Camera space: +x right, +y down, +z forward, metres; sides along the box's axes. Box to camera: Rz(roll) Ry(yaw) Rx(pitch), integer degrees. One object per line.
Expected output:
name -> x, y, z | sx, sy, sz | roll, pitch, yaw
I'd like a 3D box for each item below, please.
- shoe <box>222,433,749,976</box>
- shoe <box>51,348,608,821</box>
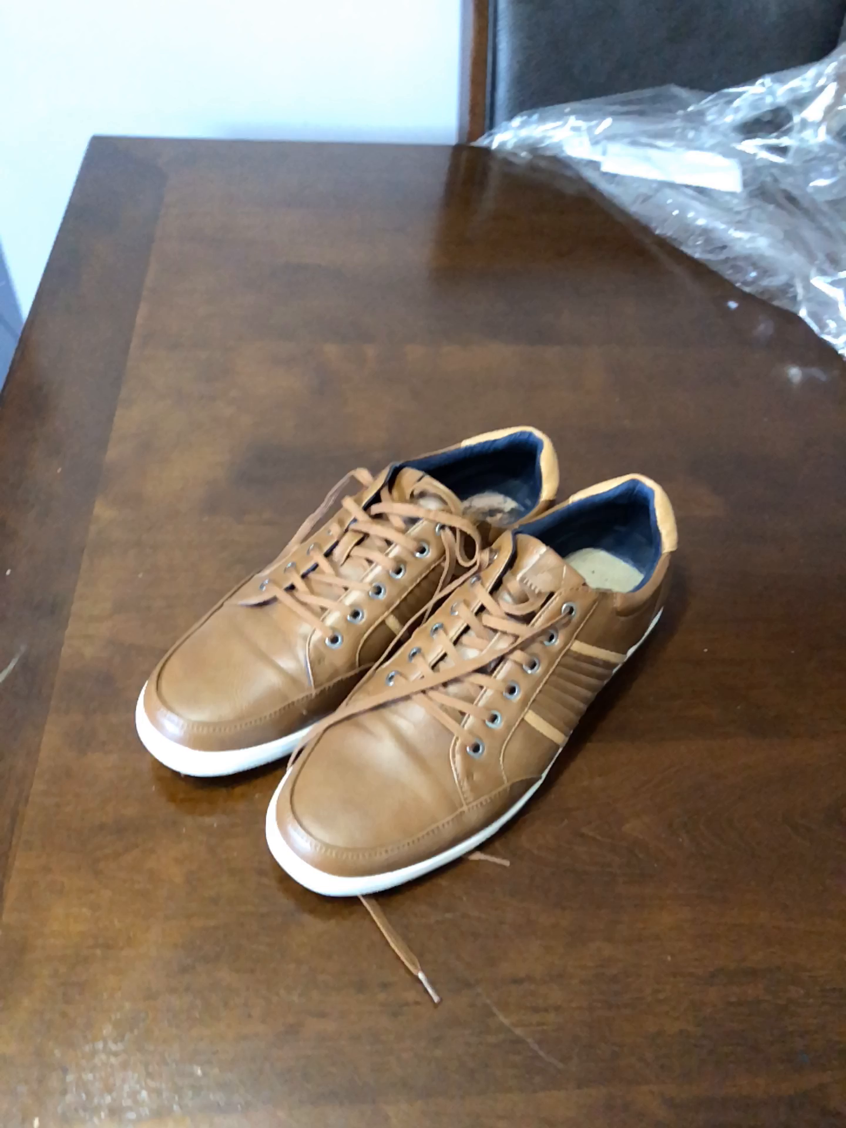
shoe -> 0.045, 0.054, 0.497 | 0.110, 0.080, 0.291 | 34, 54, 23
shoe -> -0.037, -0.006, 0.521 | 0.110, 0.080, 0.290 | 38, 56, 26
